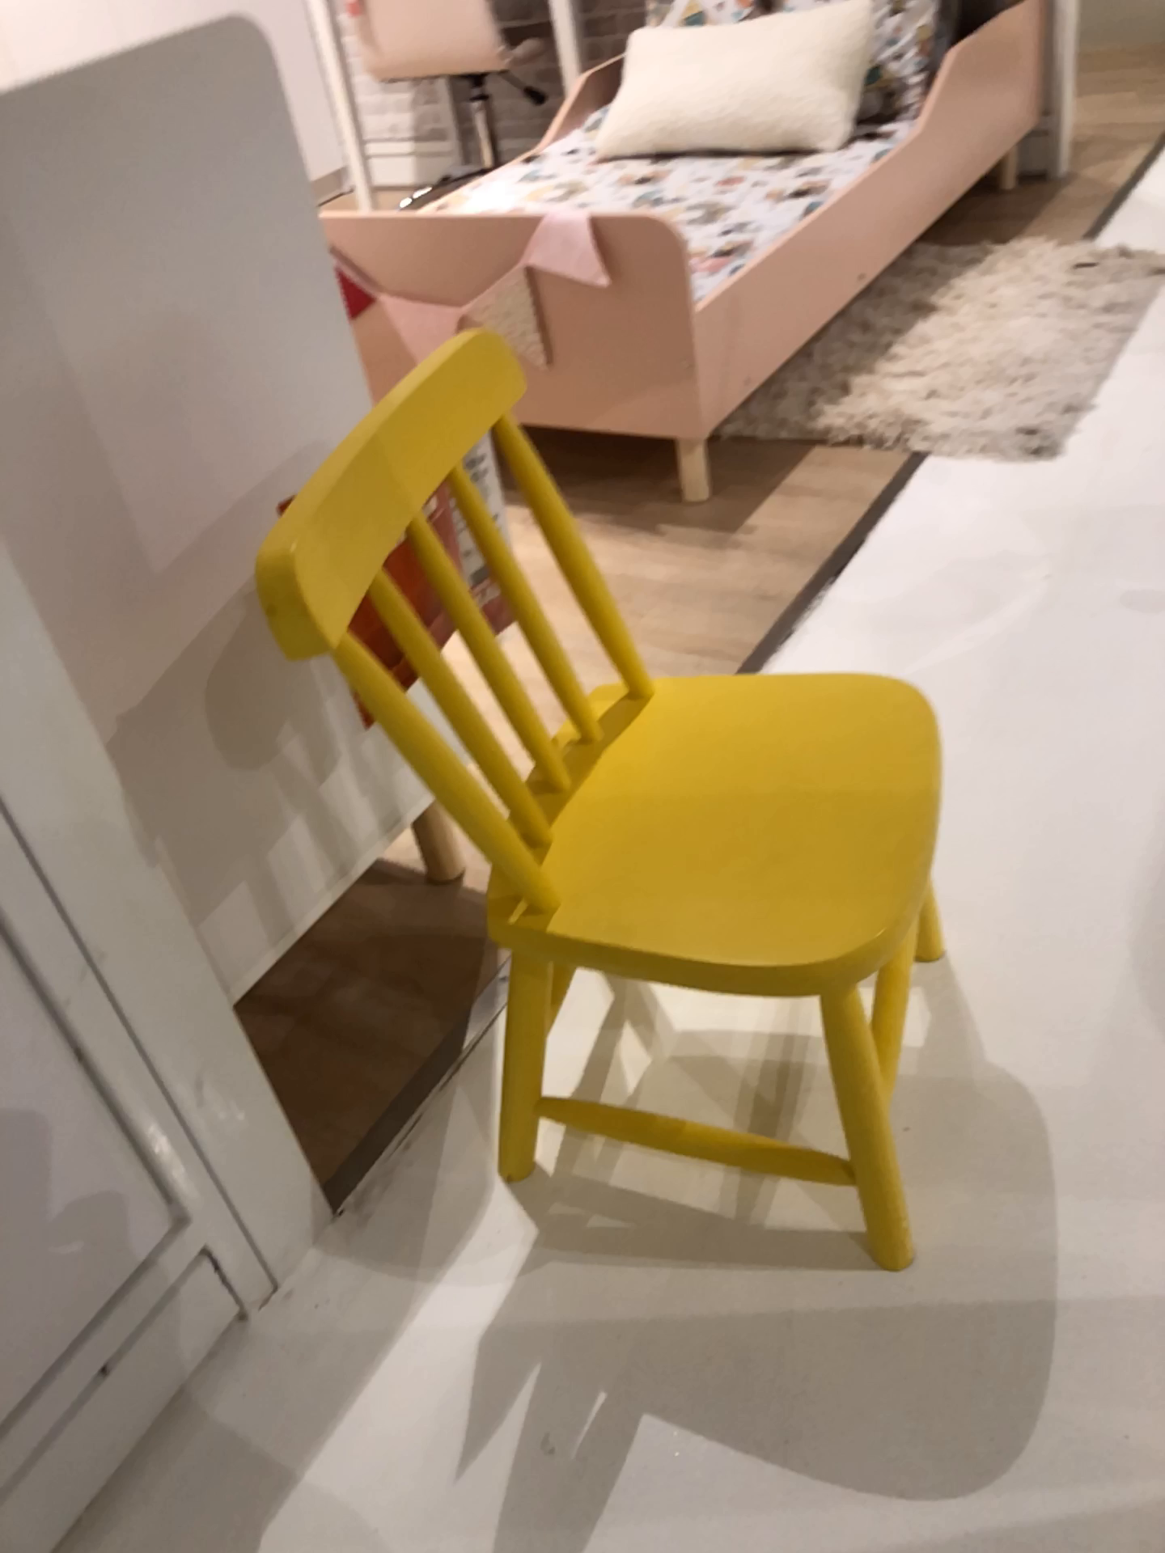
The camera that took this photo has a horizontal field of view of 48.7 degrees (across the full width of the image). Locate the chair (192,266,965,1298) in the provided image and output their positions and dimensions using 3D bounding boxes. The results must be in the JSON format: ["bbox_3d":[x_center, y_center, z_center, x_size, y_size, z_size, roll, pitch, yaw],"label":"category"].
[{"bbox_3d":[0.072,0.011,0.912,0.370,0.576,0.383,1,39,17],"label":"chair"}]
